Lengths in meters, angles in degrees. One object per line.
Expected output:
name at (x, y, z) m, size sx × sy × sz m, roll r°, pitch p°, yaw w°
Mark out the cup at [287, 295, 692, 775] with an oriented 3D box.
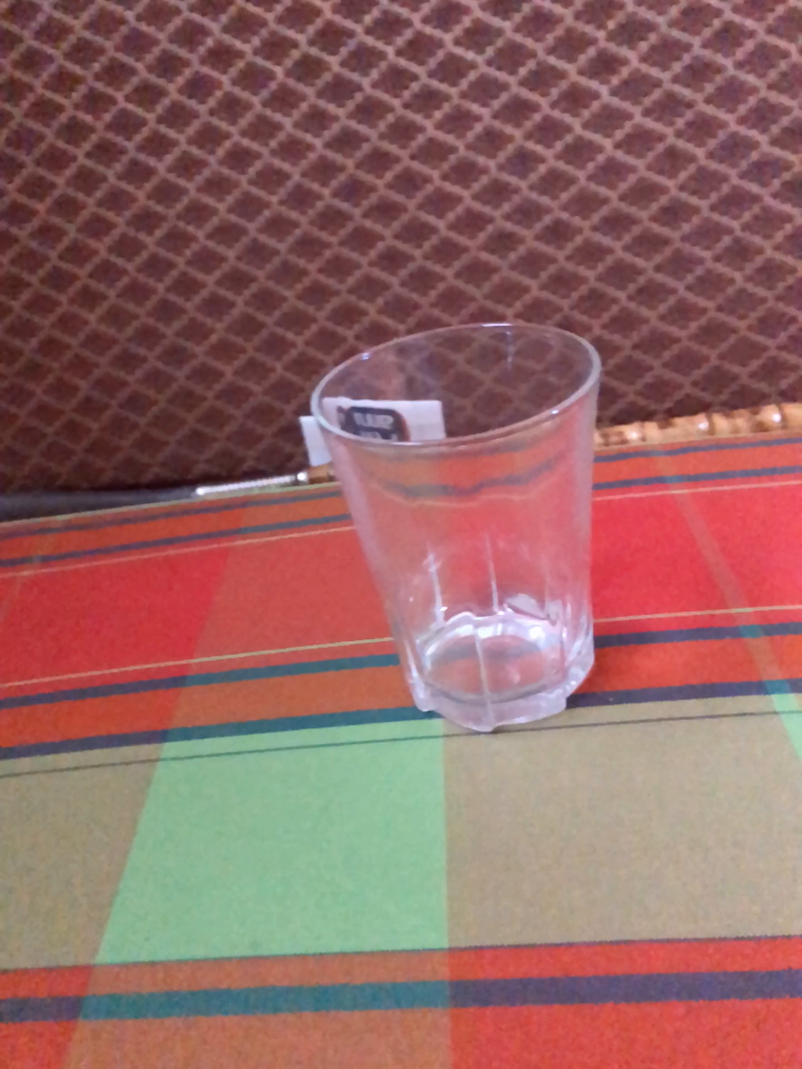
cup at (0.021, -0.004, 0.224) m, size 0.070 × 0.080 × 0.070 m, roll -7°, pitch 33°, yaw 5°
